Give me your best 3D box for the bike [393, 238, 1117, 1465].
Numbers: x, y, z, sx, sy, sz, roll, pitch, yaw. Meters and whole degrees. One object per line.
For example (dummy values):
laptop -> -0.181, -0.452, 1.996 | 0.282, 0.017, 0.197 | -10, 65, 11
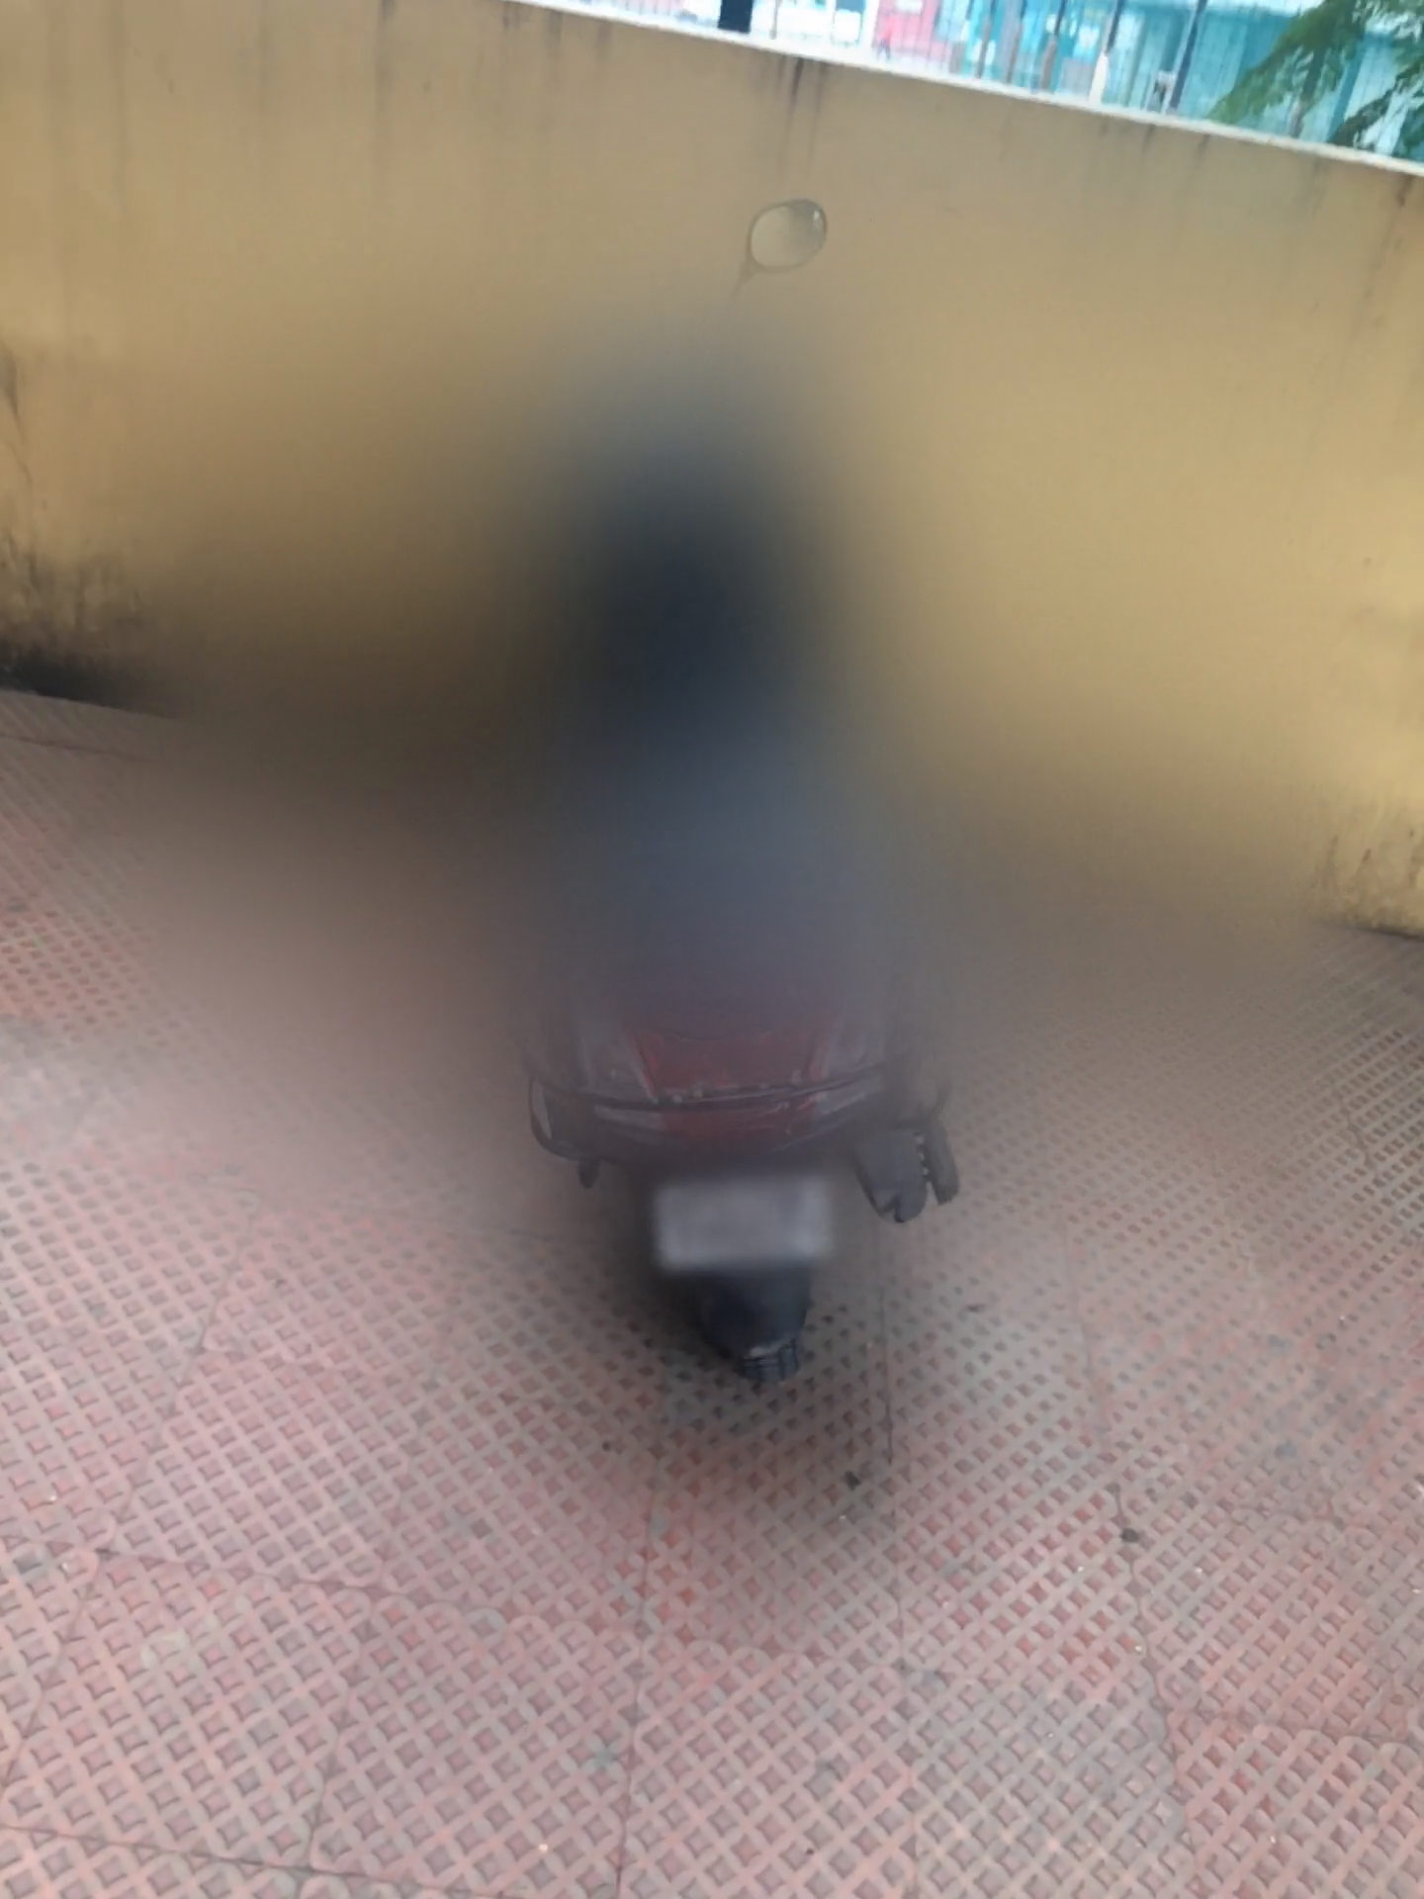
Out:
bike -> -0.021, -0.255, 2.293 | 0.578, 1.138, 1.491 | 7, 32, -6
